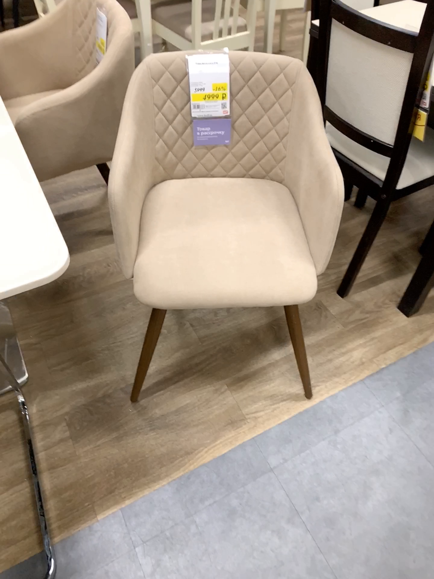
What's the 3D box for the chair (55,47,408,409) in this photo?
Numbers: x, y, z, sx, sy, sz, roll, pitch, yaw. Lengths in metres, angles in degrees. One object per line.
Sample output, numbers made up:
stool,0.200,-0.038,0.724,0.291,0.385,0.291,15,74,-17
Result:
chair,0.011,-0.127,1.255,0.600,0.836,0.573,-1,49,-2
